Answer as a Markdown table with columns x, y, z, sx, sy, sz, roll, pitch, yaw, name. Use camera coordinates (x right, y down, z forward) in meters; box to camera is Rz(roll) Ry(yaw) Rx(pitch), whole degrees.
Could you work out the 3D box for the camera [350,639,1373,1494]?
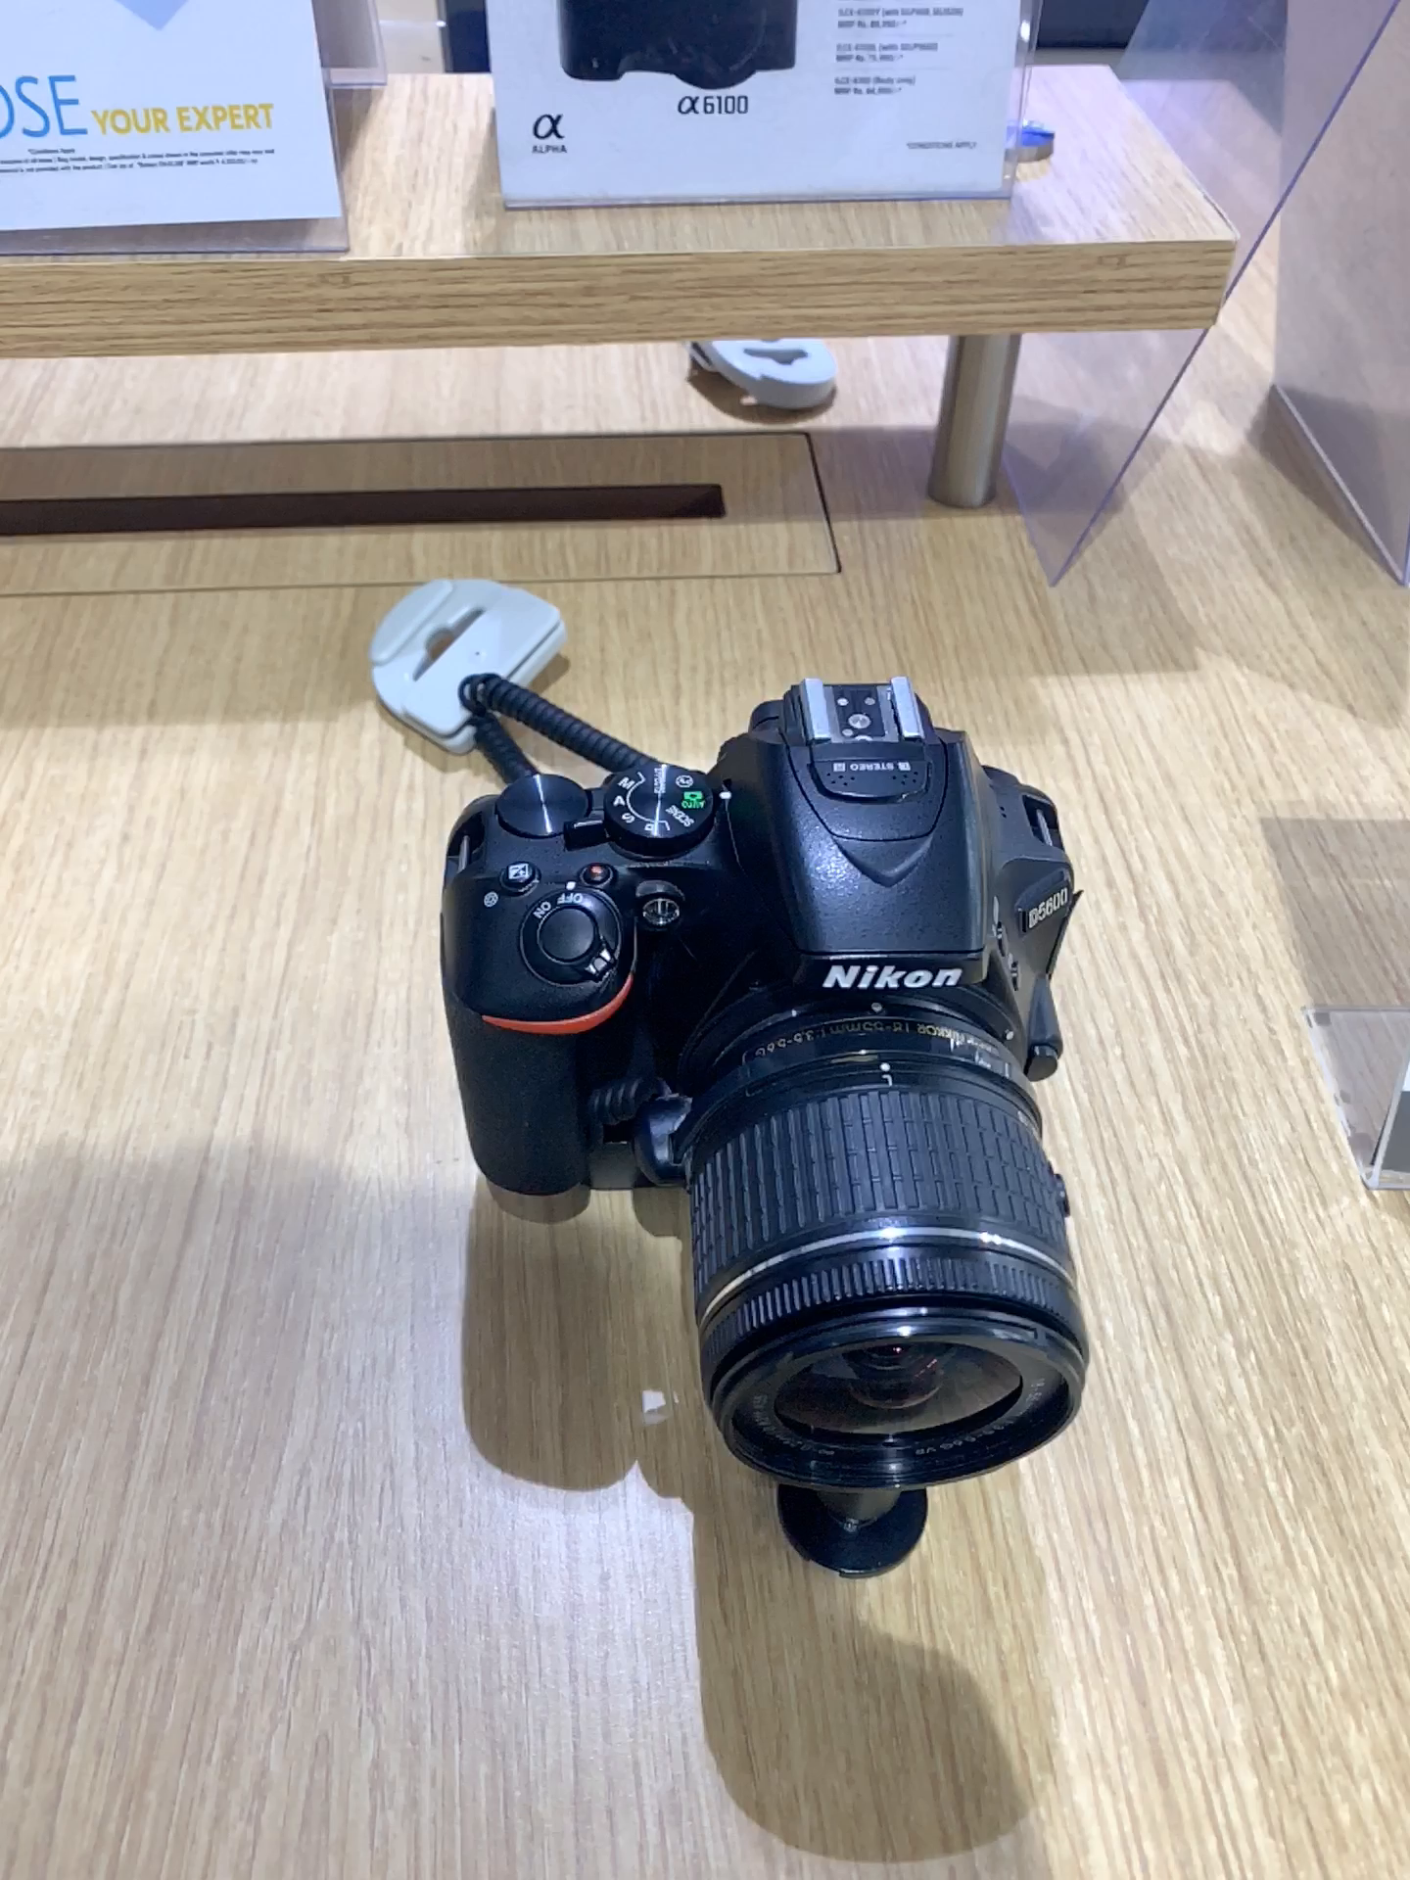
| x | y | z | sx | sy | sz | roll | pitch | yaw | name |
| --- | --- | --- | --- | --- | --- | --- | --- | --- | --- |
| 0.015 | 0.017 | 0.242 | 0.124 | 0.080 | 0.114 | -1 | 46 | -4 | camera |
